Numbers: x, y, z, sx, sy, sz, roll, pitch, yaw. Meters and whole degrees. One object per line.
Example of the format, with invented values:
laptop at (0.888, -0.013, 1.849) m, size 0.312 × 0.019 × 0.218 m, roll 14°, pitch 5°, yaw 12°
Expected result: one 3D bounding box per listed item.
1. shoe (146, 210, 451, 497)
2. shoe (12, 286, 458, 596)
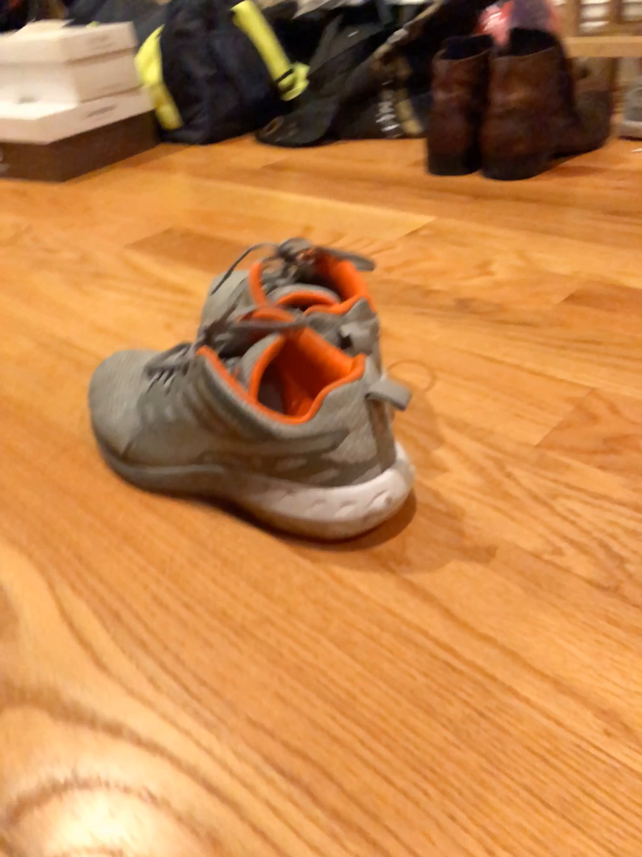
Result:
shoe at (-0.026, -0.072, 0.513) m, size 0.100 × 0.099 × 0.251 m, roll -23°, pitch 37°, yaw -22°
shoe at (-0.056, -0.010, 0.429) m, size 0.251 × 0.080 × 0.110 m, roll 18°, pitch 41°, yaw 32°
